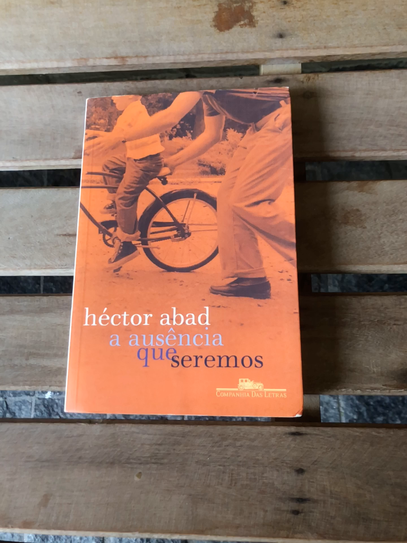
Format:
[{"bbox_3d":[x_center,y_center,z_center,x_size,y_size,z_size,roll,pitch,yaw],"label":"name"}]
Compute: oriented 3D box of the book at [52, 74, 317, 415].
[{"bbox_3d":[-0.010,-0.021,0.272,0.142,0.020,0.200,-1,77,6],"label":"book"}]
